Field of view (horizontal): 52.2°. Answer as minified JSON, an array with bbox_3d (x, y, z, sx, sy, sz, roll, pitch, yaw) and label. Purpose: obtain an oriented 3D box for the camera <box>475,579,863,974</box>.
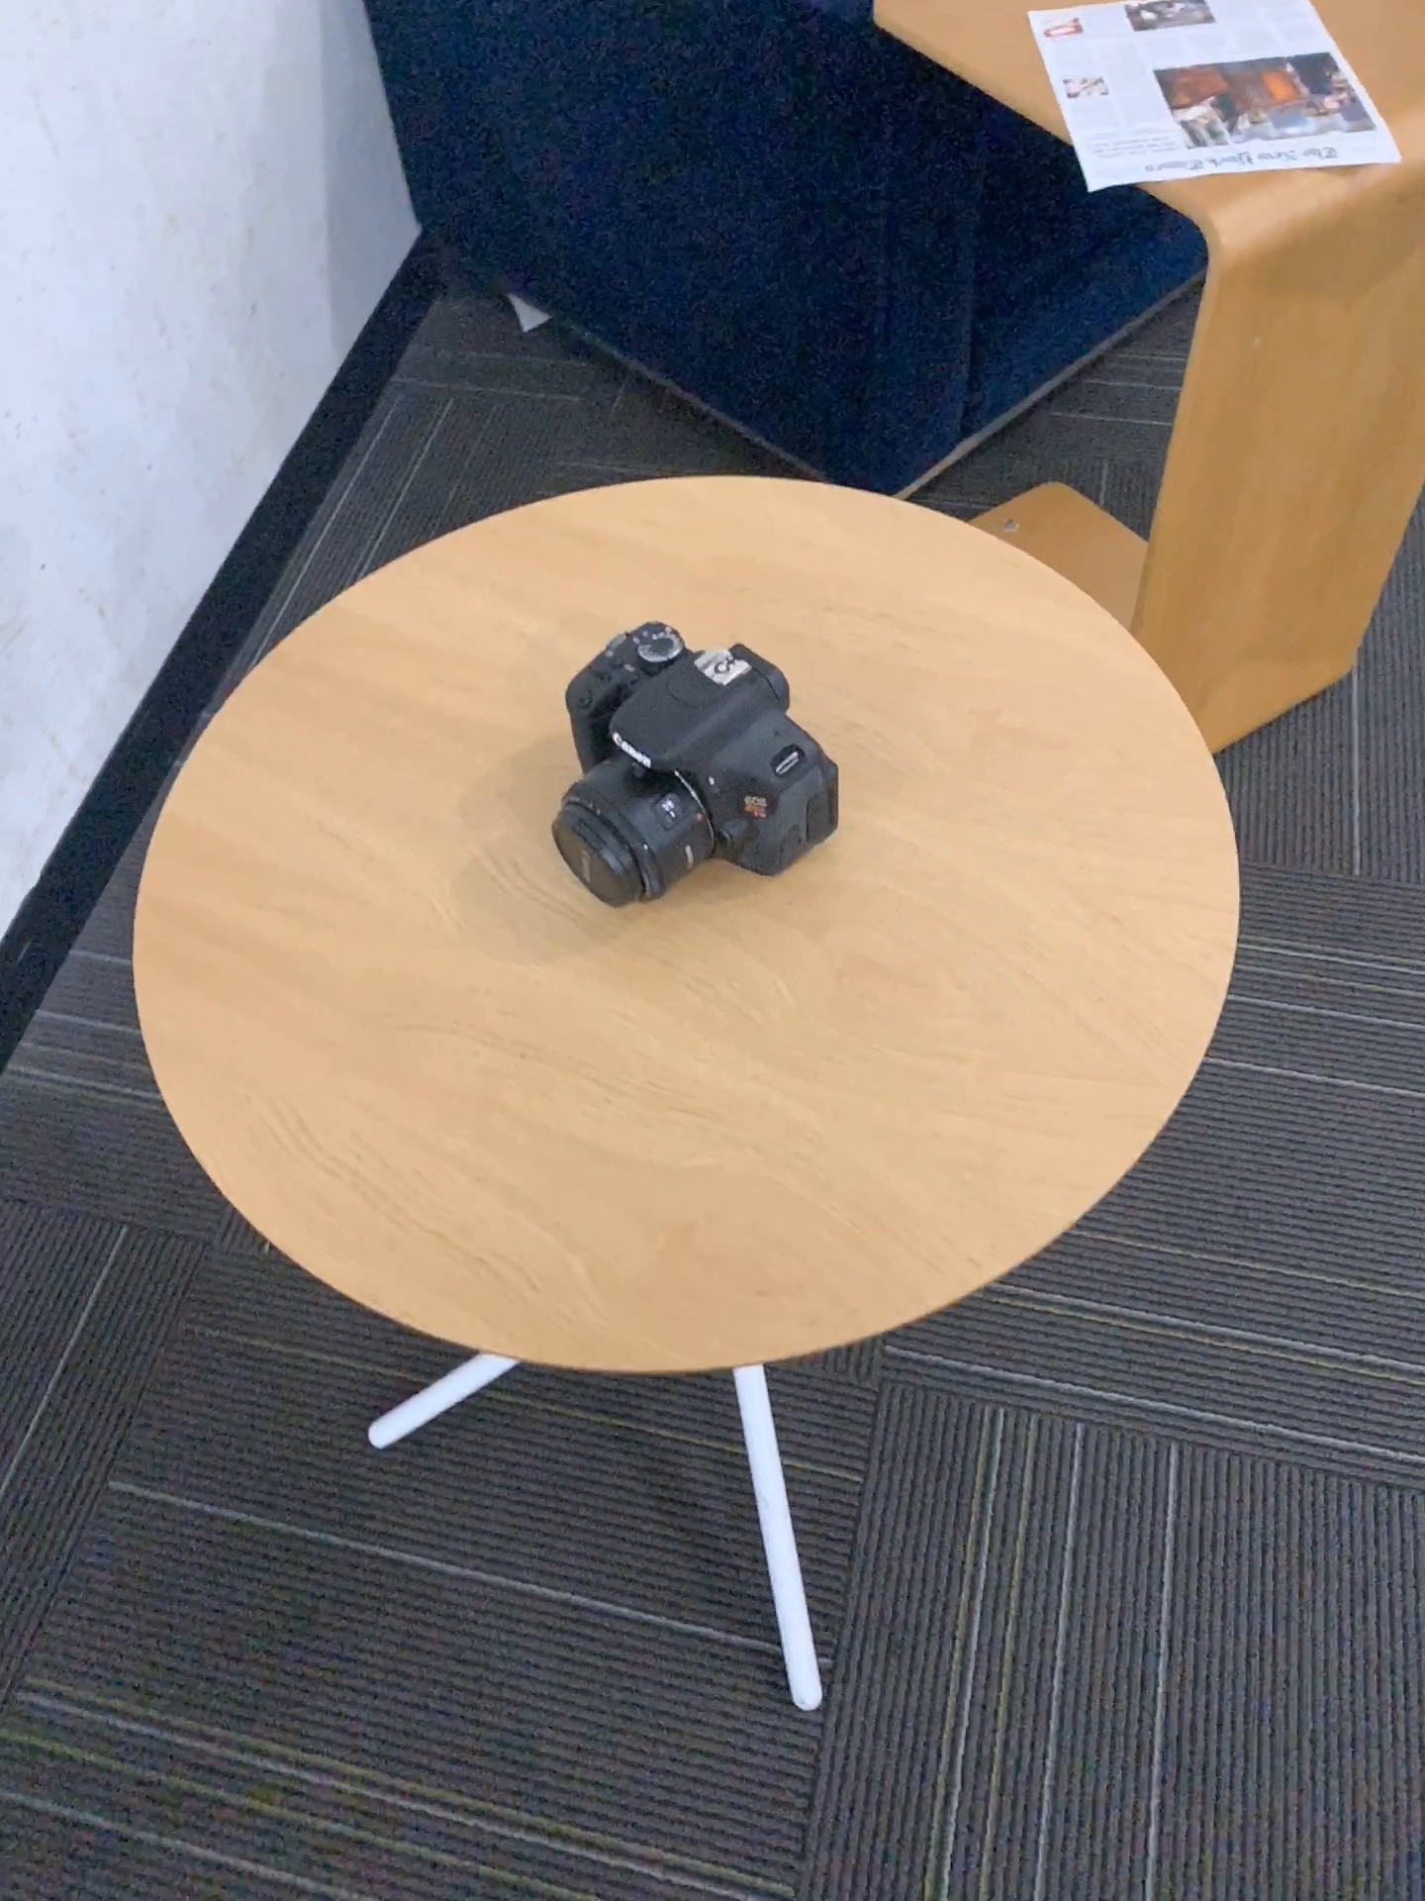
[{"bbox_3d":[-0.018,-0.083,0.682,0.120,0.080,0.125,38,66,25],"label":"camera"}]
